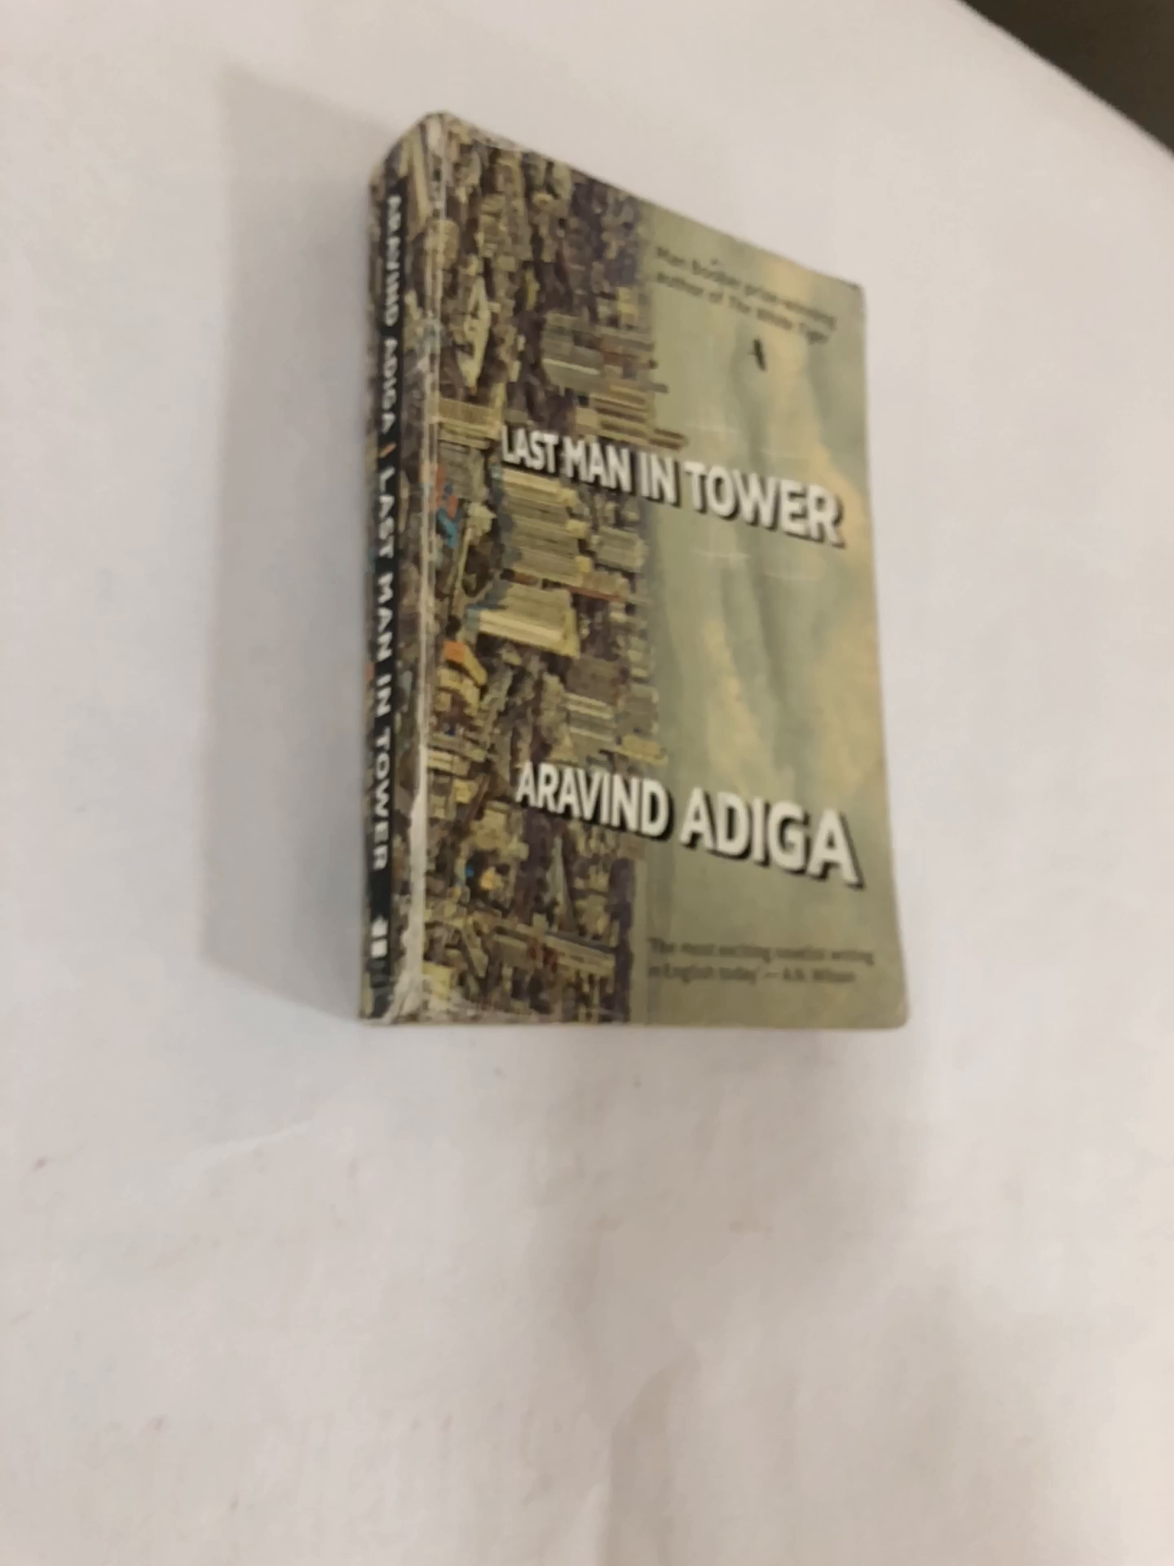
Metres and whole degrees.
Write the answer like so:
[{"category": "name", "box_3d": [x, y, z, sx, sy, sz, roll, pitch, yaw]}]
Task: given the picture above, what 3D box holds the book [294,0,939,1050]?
[{"category": "book", "box_3d": [0.010, -0.052, 0.312, 0.151, 0.030, 0.220, 6, 76, -33]}]
